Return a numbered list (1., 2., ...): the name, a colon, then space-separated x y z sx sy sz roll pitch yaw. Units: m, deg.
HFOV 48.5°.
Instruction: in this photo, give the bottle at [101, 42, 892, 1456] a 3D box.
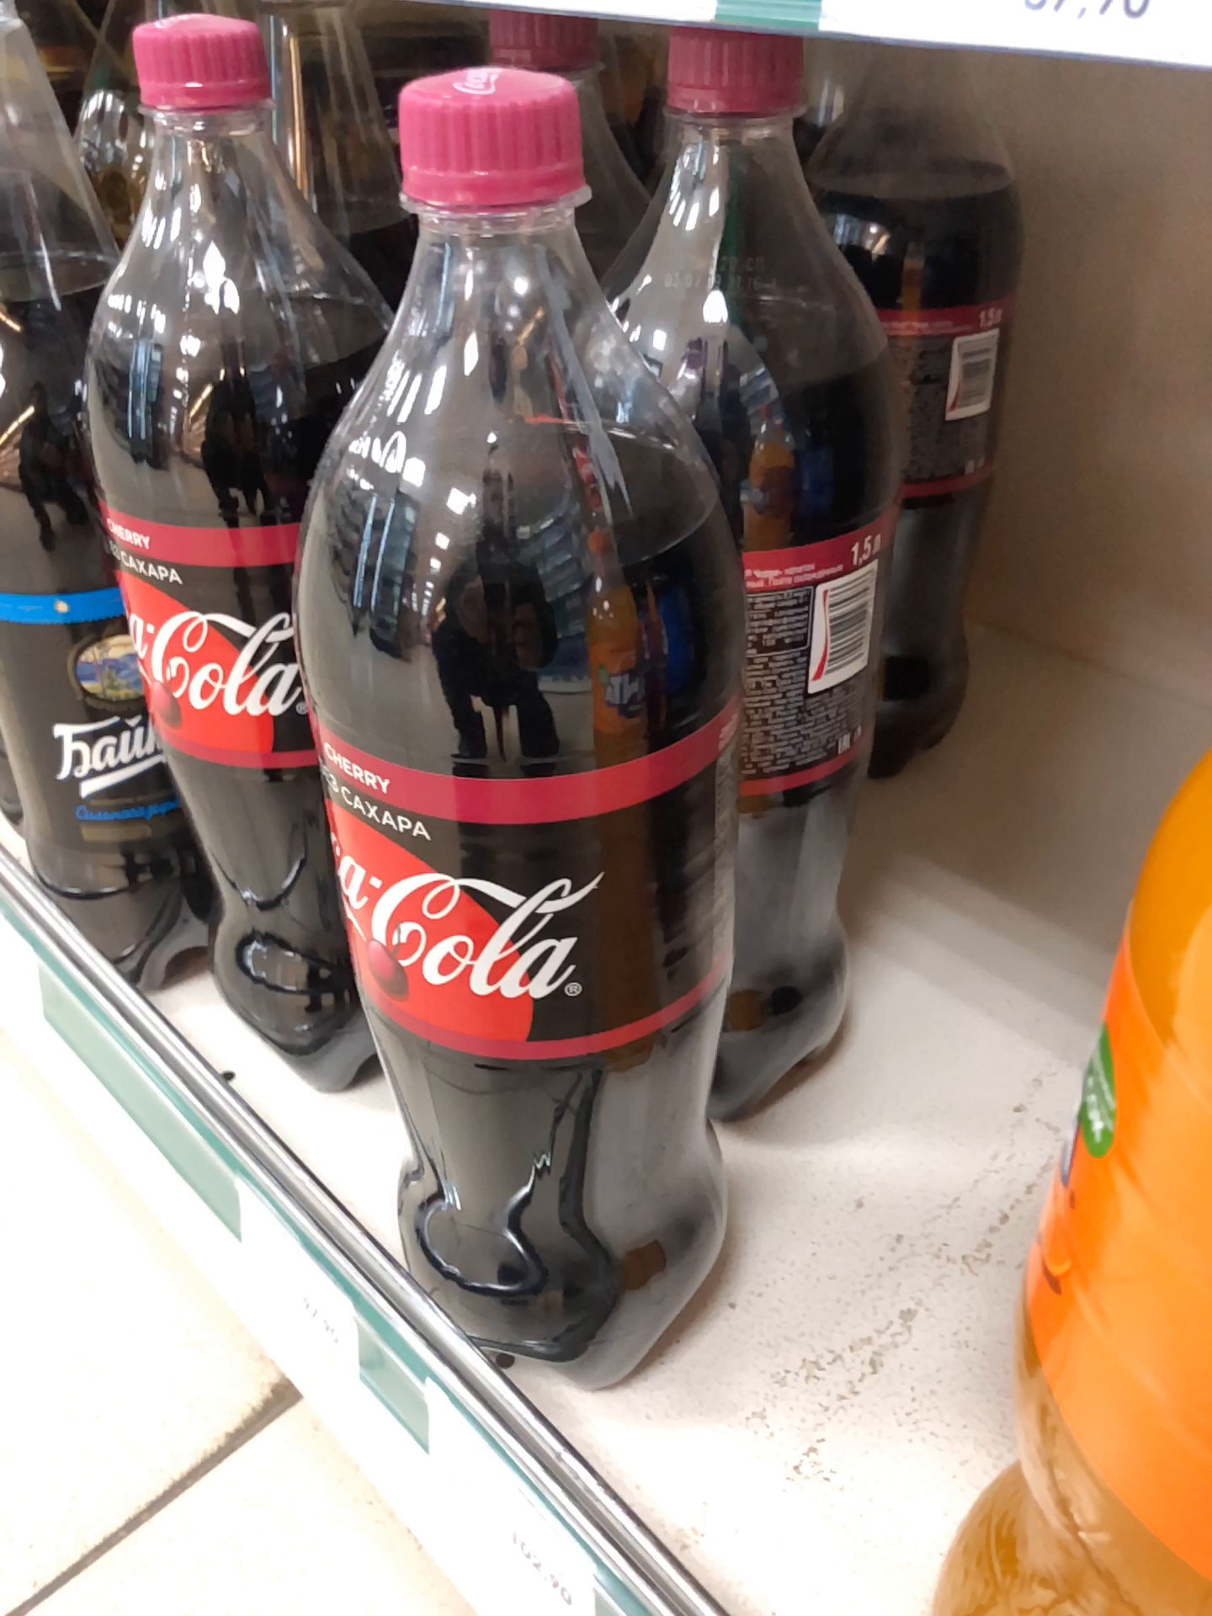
1. bottle: -0.015 0.005 0.301 0.092 0.295 0.088 -1 36 1
